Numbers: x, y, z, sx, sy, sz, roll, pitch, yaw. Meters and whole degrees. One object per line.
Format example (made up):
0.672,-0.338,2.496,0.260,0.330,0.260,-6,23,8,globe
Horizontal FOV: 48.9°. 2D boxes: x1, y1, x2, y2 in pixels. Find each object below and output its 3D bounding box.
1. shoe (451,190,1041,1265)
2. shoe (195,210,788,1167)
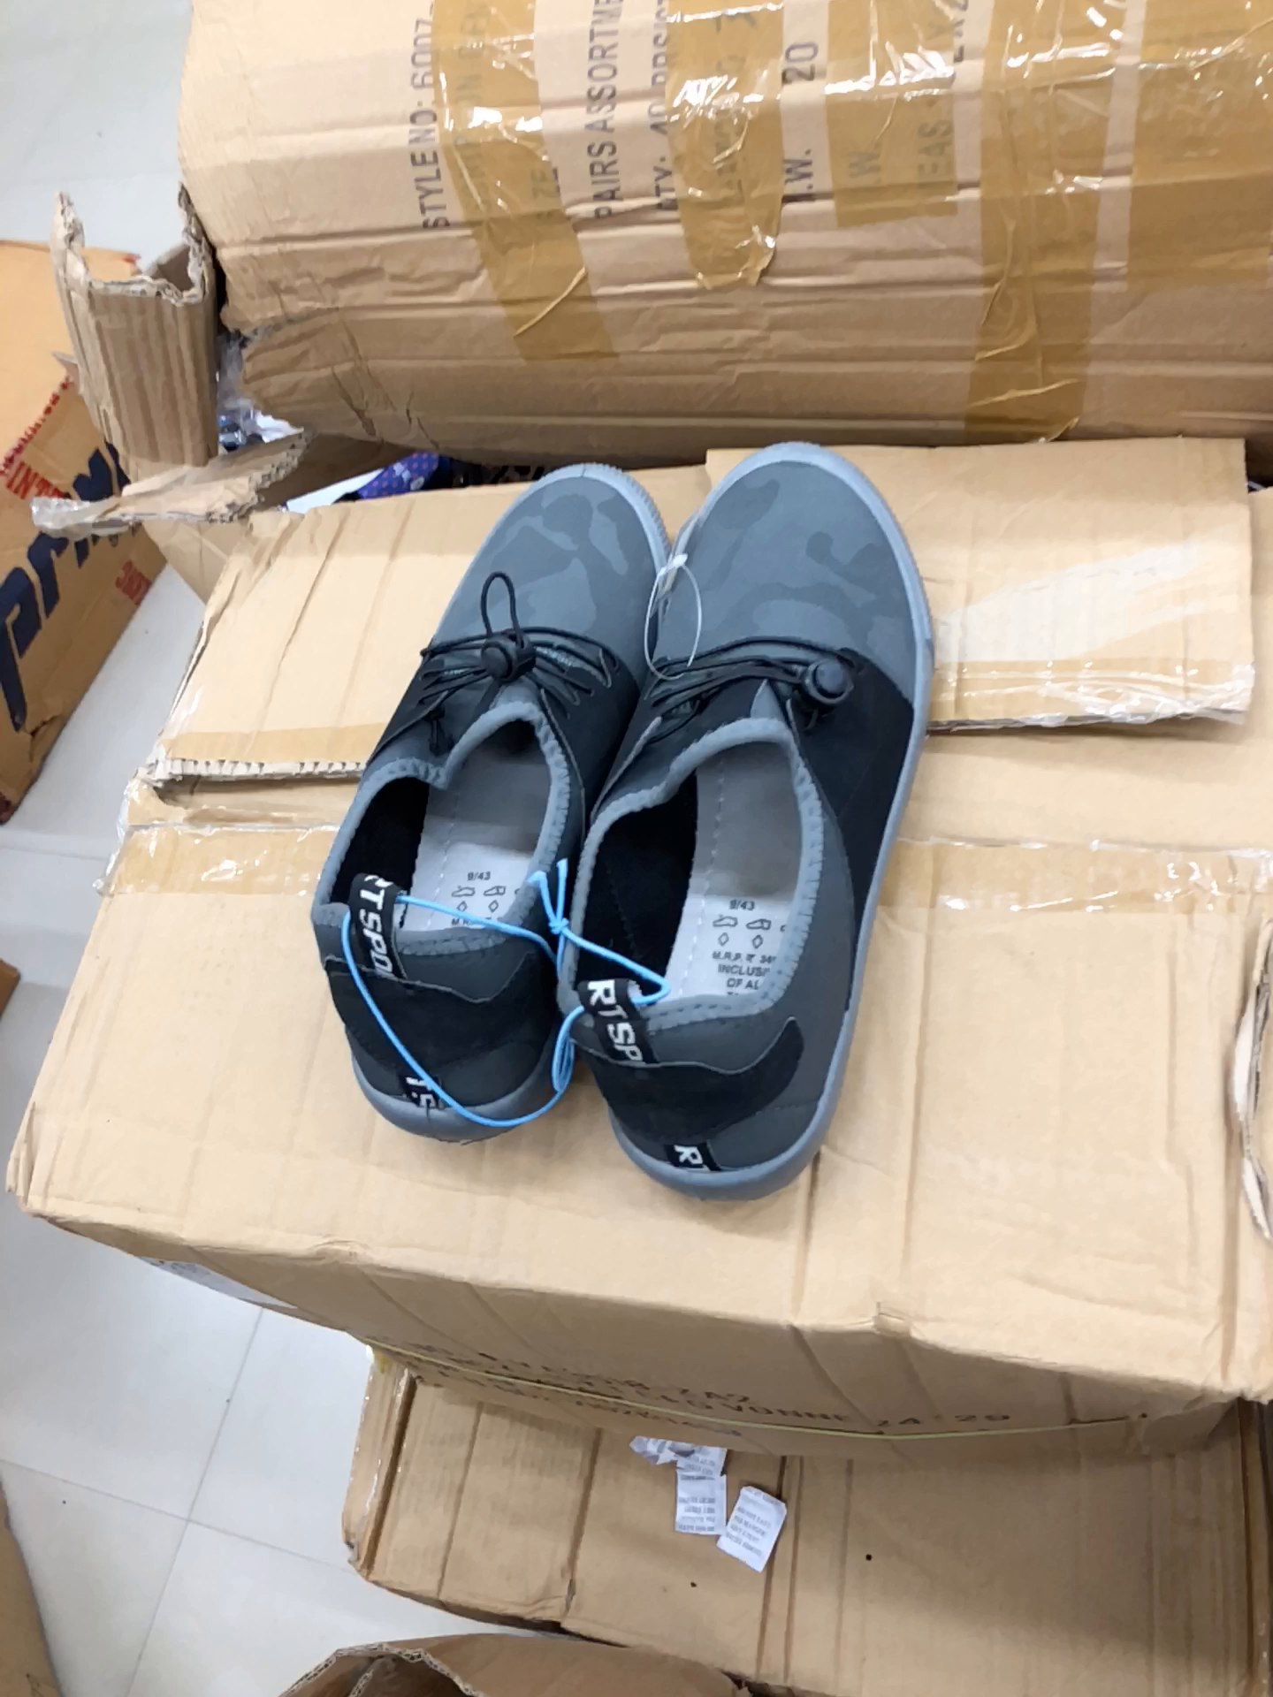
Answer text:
0.056,-0.044,0.440,0.110,0.130,0.301,3,63,20,shoe
-0.028,-0.058,0.506,0.110,0.149,0.301,0,62,18,shoe
